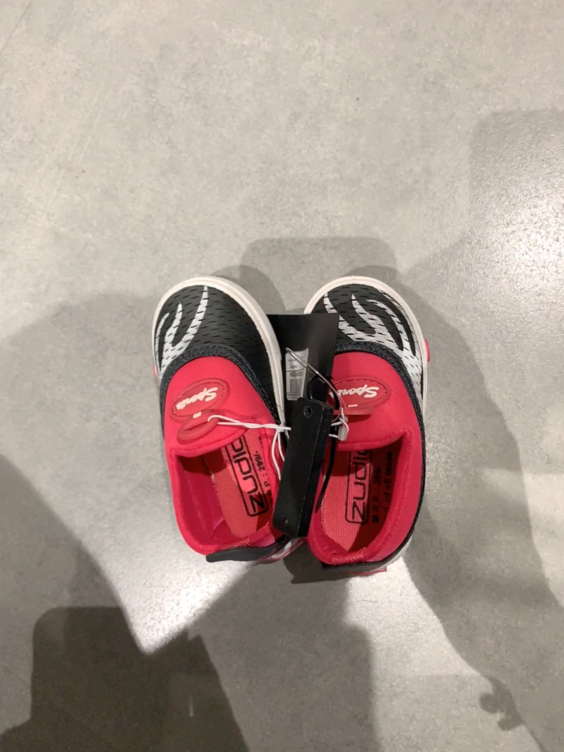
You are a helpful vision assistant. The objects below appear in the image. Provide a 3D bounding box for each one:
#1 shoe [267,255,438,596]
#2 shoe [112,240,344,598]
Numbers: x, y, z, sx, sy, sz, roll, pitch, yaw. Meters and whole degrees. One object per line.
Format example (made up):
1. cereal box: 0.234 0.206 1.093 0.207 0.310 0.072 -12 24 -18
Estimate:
1. shoe: 0.034 0.021 0.275 0.070 0.060 0.140 0 86 9
2. shoe: -0.022 0.019 0.277 0.060 0.060 0.140 -18 83 7
